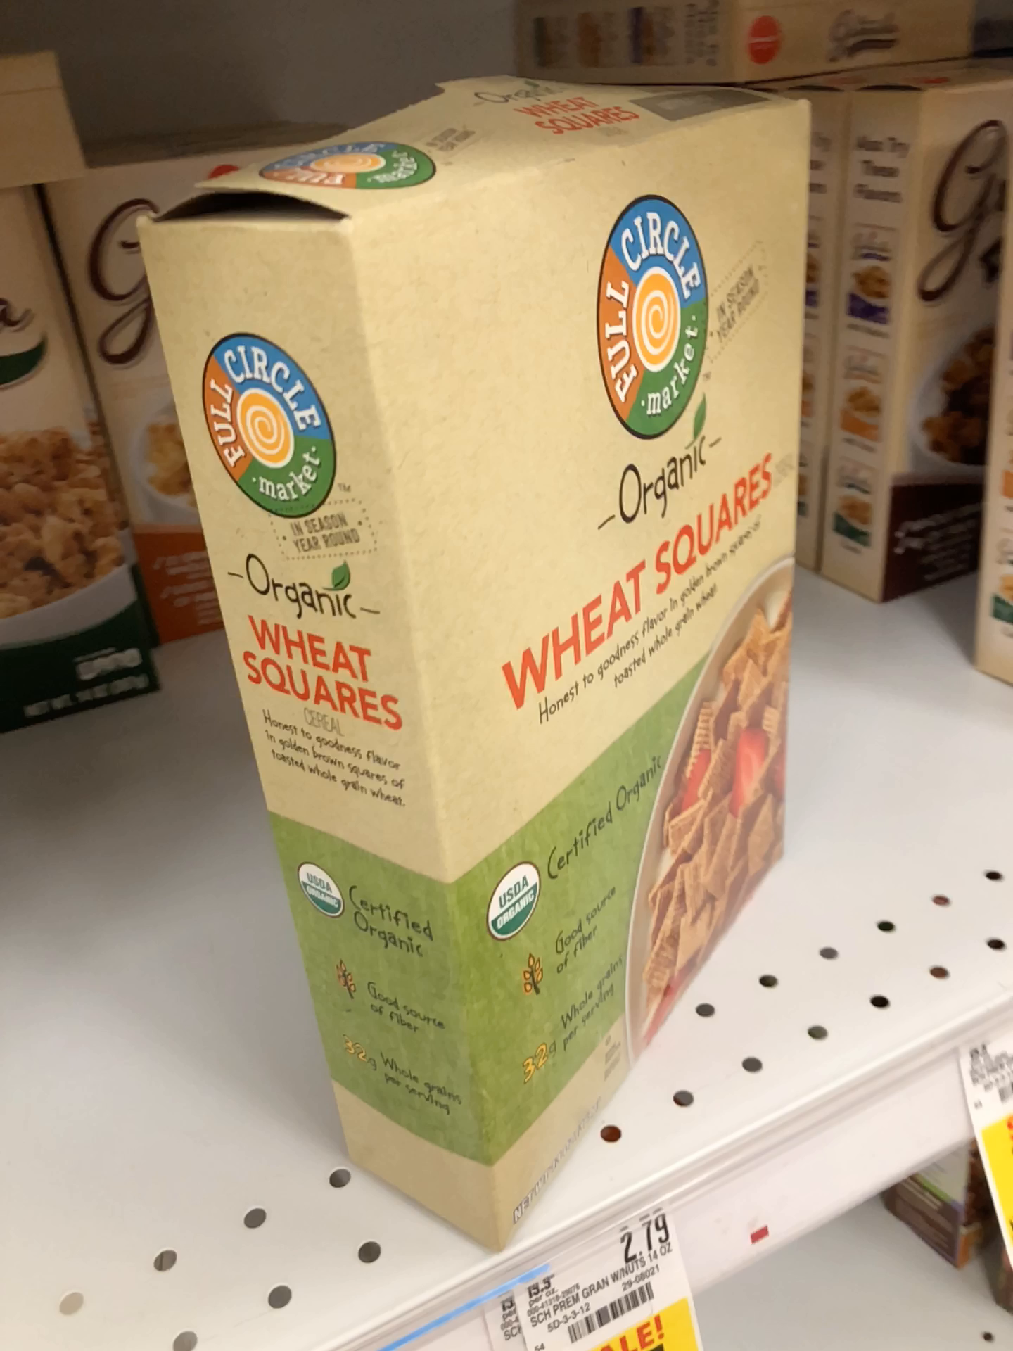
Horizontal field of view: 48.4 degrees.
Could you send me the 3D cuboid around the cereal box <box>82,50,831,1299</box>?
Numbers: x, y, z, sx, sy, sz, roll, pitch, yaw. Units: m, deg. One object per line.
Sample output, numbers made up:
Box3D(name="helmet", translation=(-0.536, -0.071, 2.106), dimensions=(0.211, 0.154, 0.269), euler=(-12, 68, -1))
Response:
Box3D(name="cereal box", translation=(0.019, -0.004, 0.313), dimensions=(0.050, 0.279, 0.200), euler=(16, 37, 32))
